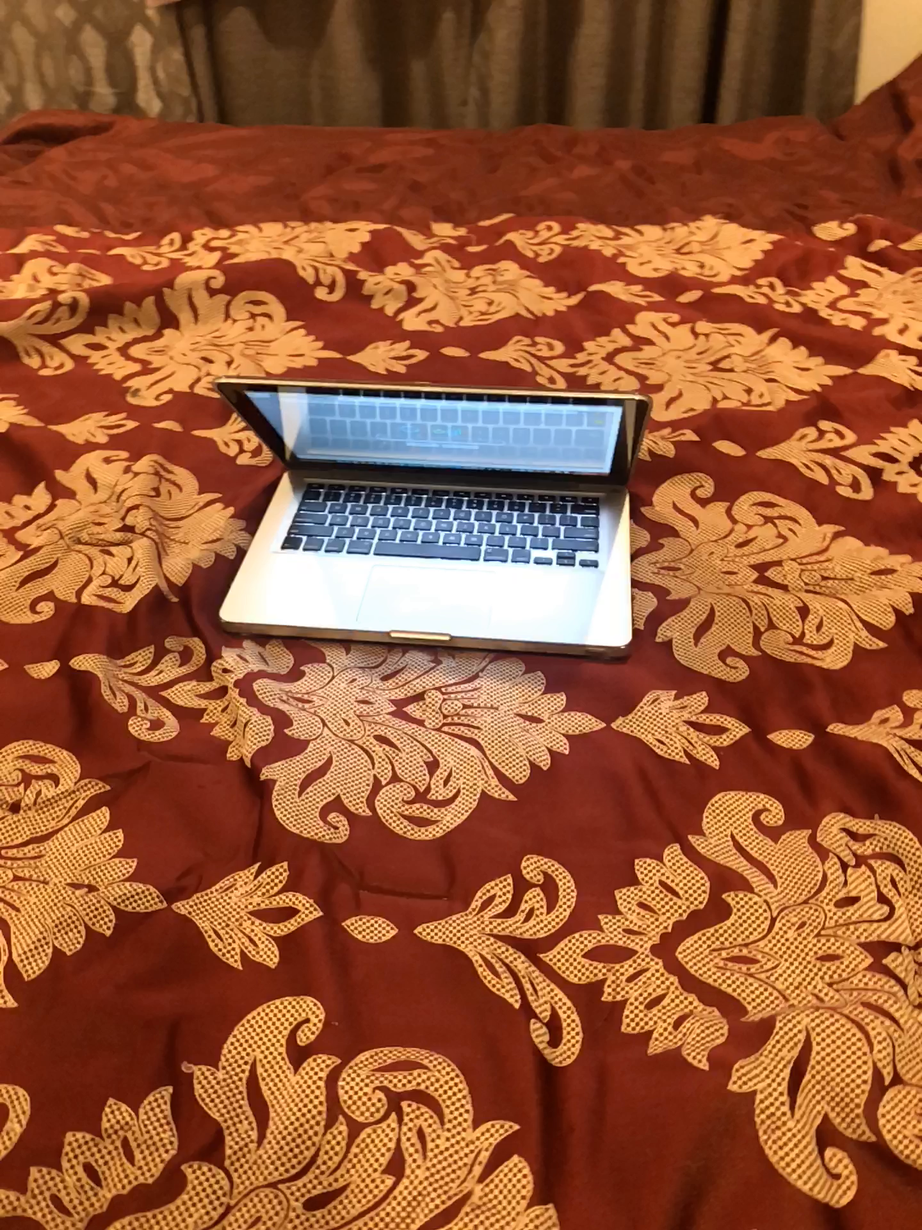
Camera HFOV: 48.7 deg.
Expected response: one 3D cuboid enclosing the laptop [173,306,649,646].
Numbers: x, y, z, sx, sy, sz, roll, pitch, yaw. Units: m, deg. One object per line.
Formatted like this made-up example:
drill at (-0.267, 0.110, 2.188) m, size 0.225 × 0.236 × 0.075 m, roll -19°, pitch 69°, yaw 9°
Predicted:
laptop at (-0.021, -0.115, 0.790) m, size 0.312 × 0.156 × 0.213 m, roll 3°, pitch 40°, yaw 5°
